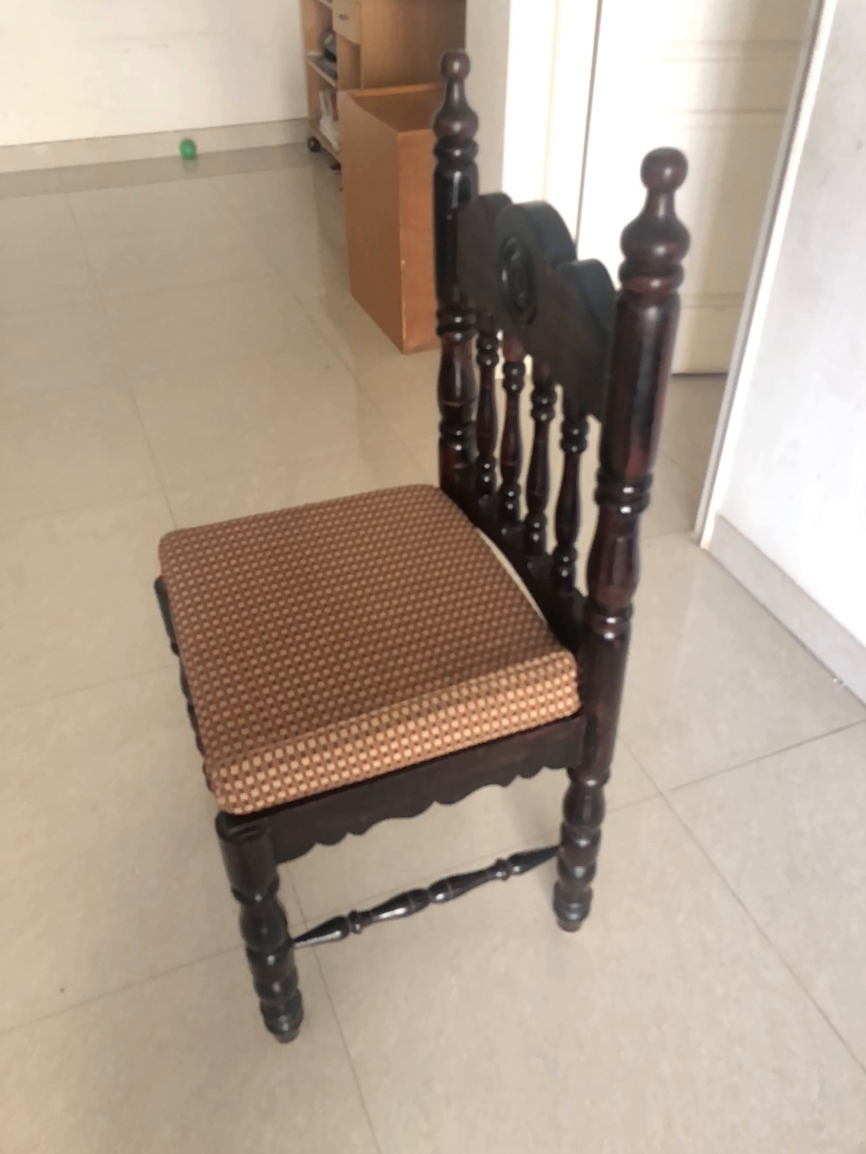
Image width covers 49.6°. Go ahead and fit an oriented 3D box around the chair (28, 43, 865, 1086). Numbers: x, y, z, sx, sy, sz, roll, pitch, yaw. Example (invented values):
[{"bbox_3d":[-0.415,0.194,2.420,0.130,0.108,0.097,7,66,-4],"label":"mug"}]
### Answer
[{"bbox_3d":[-0.032,0.016,1.096,0.561,1.022,0.503,-13,40,-16],"label":"chair"}]
